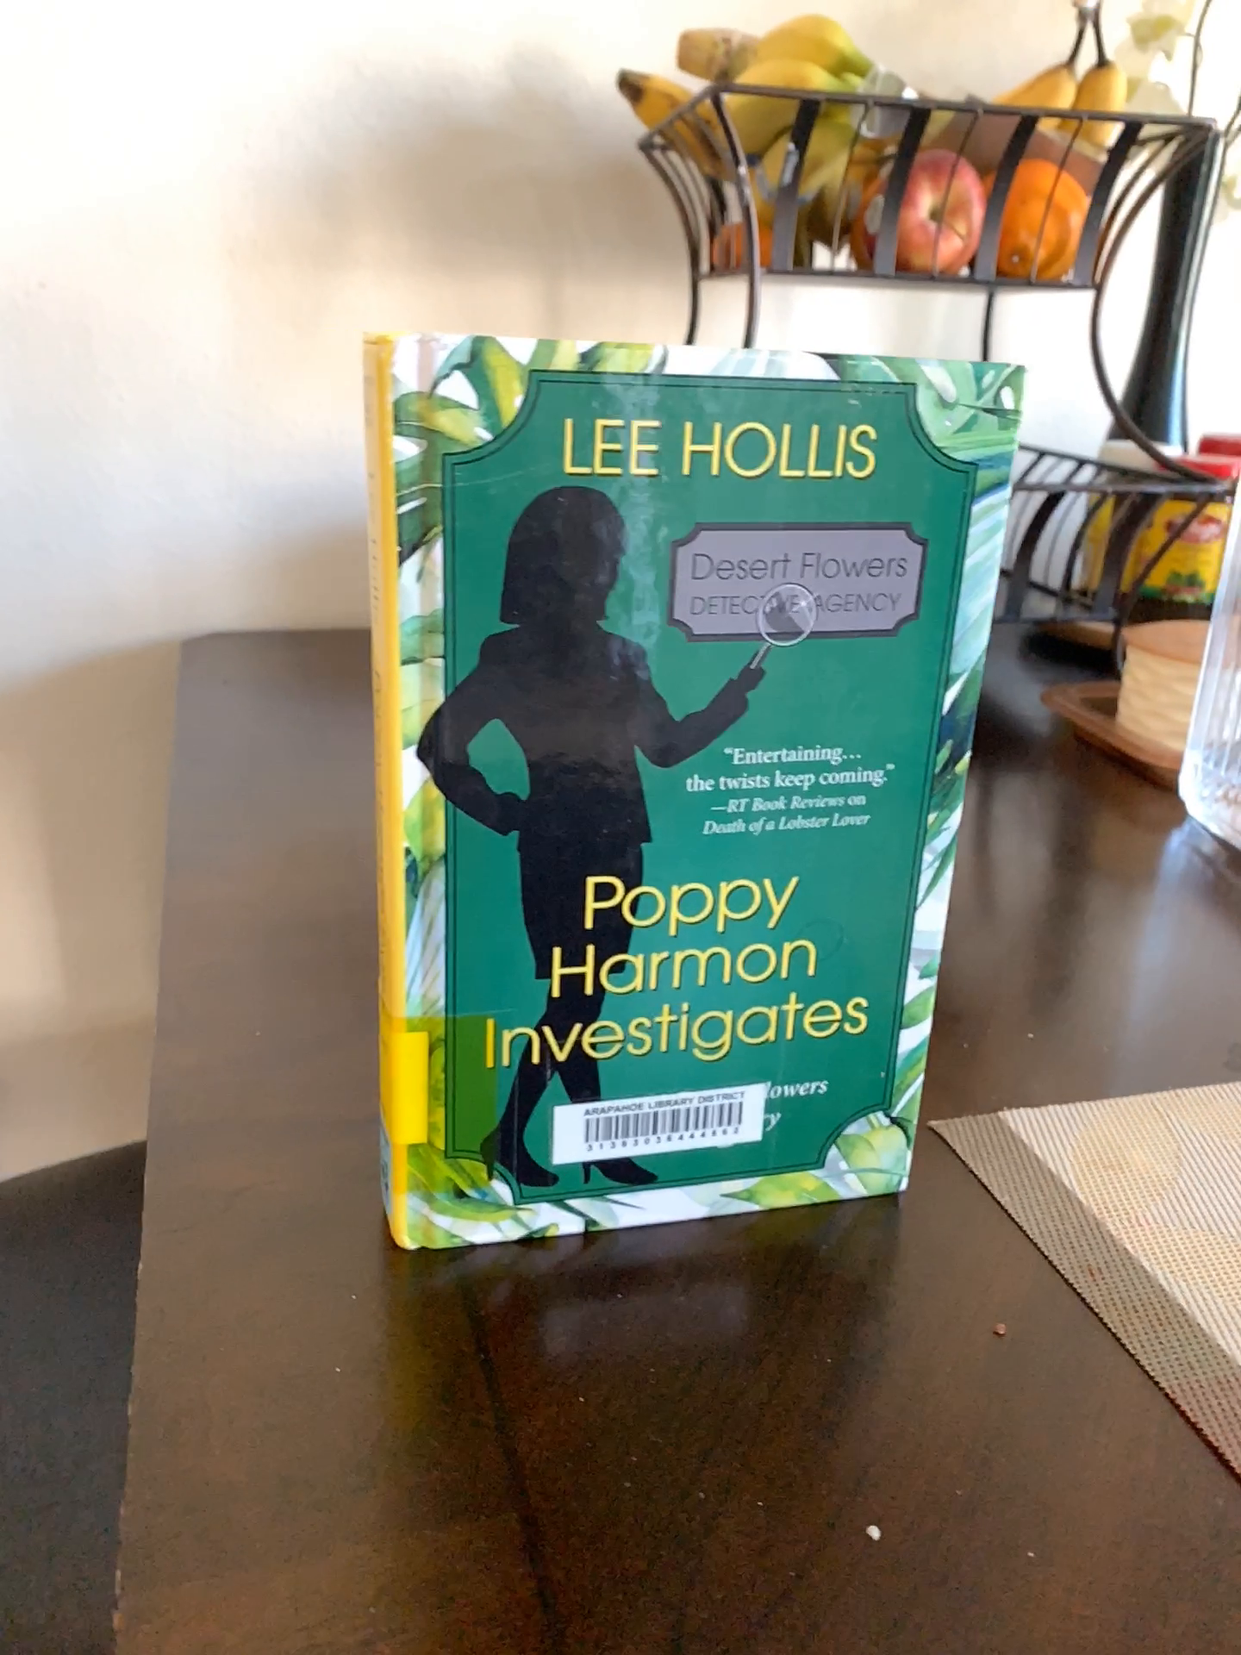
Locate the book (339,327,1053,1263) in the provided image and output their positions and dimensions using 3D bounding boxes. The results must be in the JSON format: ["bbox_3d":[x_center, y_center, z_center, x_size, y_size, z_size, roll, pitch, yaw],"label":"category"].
[{"bbox_3d":[0.013,-0.005,0.322,0.153,0.220,0.040,-3,20,-14],"label":"book"}]
